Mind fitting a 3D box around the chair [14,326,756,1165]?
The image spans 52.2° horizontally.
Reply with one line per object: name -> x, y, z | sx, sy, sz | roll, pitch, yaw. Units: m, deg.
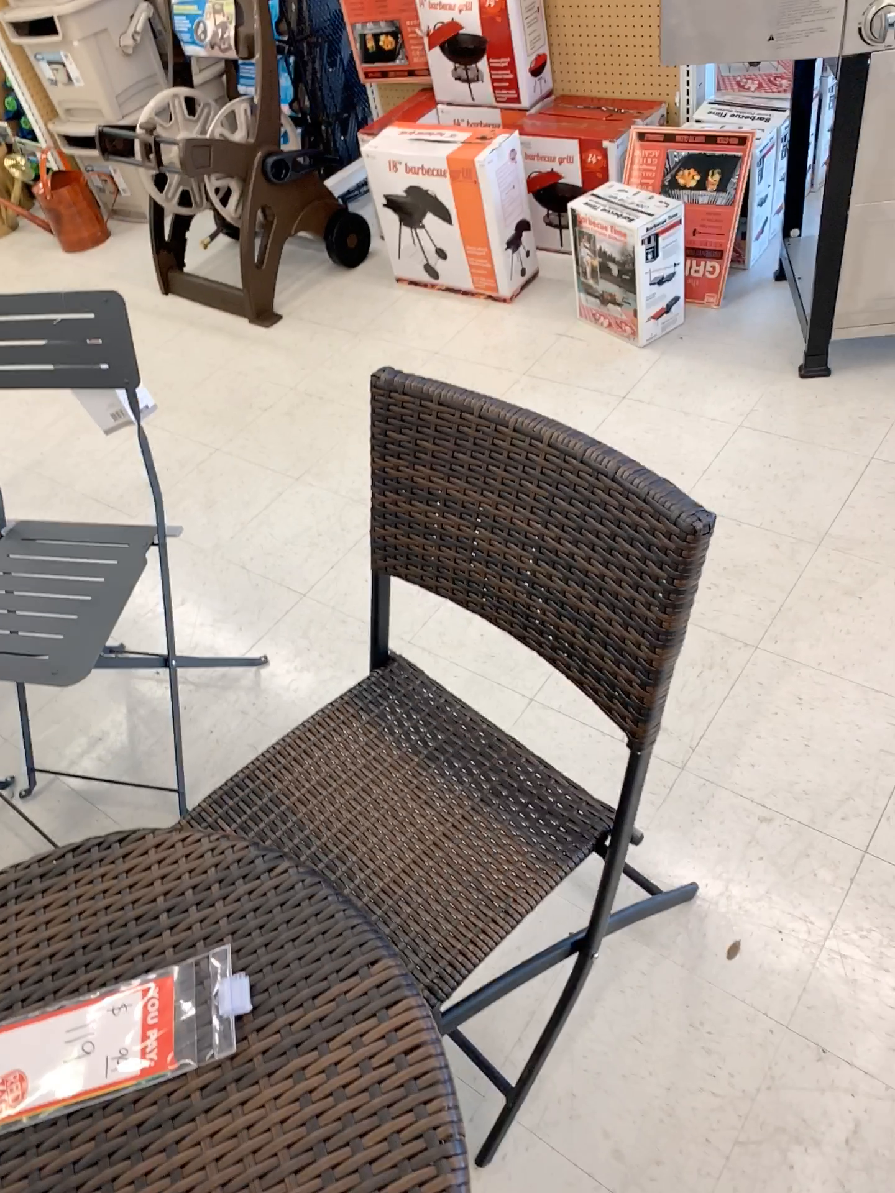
chair -> -0.007, 0.196, 1.113 | 0.511, 0.766, 0.482 | -40, 50, -23
